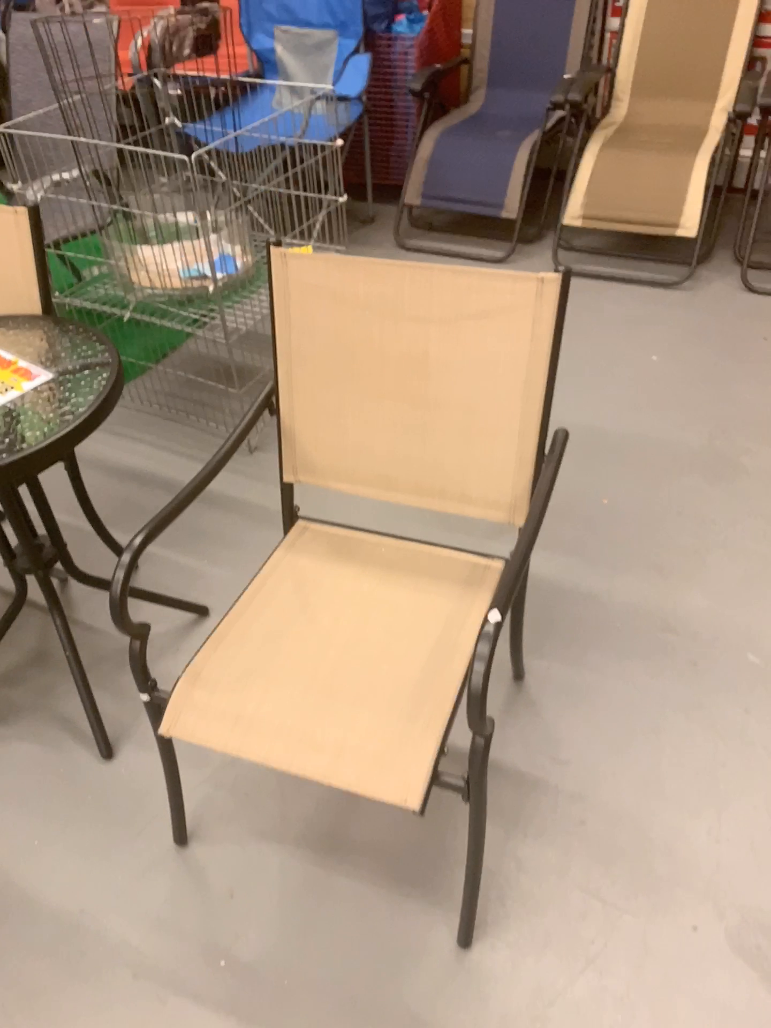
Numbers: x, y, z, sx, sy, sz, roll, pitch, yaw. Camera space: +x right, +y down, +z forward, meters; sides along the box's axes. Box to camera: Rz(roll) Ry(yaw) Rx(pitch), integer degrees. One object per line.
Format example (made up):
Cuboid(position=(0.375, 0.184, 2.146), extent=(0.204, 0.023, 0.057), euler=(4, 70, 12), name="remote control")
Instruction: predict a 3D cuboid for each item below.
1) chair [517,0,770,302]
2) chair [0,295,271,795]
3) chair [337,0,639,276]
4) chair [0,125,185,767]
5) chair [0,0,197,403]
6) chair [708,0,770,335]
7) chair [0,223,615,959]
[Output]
Cuboid(position=(1.083, -1.629, 3.033), extent=(0.735, 1.041, 1.271), euler=(15, 44, 20), name="chair")
Cuboid(position=(-0.625, 0.037, 1.485), extent=(0.525, 0.634, 0.547), euler=(14, 44, 20), name="chair")
Cuboid(position=(0.466, -1.820, 3.307), extent=(0.735, 1.071, 1.270), euler=(16, 45, 21), name="chair")
Cuboid(position=(-0.941, -0.145, 1.538), extent=(0.615, 0.922, 0.678), euler=(15, 44, 20), name="chair")
Cuboid(position=(-1.158, -0.991, 2.470), extent=(0.665, 0.952, 0.678), euler=(15, 44, 20), name="chair")
Cuboid(position=(1.670, -1.414, 2.733), extent=(0.735, 0.982, 1.271), euler=(13, 44, 18), name="chair")
Cuboid(position=(-0.033, 0.114, 1.227), extent=(0.574, 0.862, 0.618), euler=(11, 43, 16), name="chair")
